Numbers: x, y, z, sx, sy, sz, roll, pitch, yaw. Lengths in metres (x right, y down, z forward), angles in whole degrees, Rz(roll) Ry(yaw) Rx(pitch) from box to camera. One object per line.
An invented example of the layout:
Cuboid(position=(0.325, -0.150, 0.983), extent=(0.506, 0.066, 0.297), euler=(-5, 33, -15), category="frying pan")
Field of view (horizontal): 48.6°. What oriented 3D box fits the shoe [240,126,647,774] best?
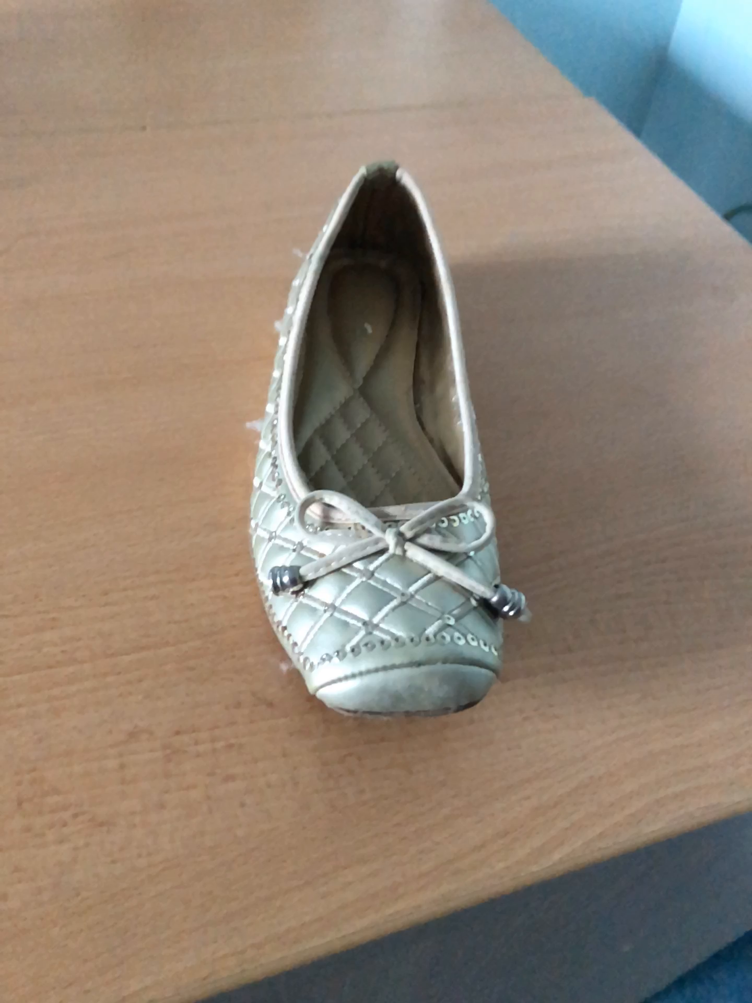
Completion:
Cuboid(position=(0.003, -0.042, 0.316), extent=(0.100, 0.080, 0.261), euler=(-1, 49, -7), category="shoe")
